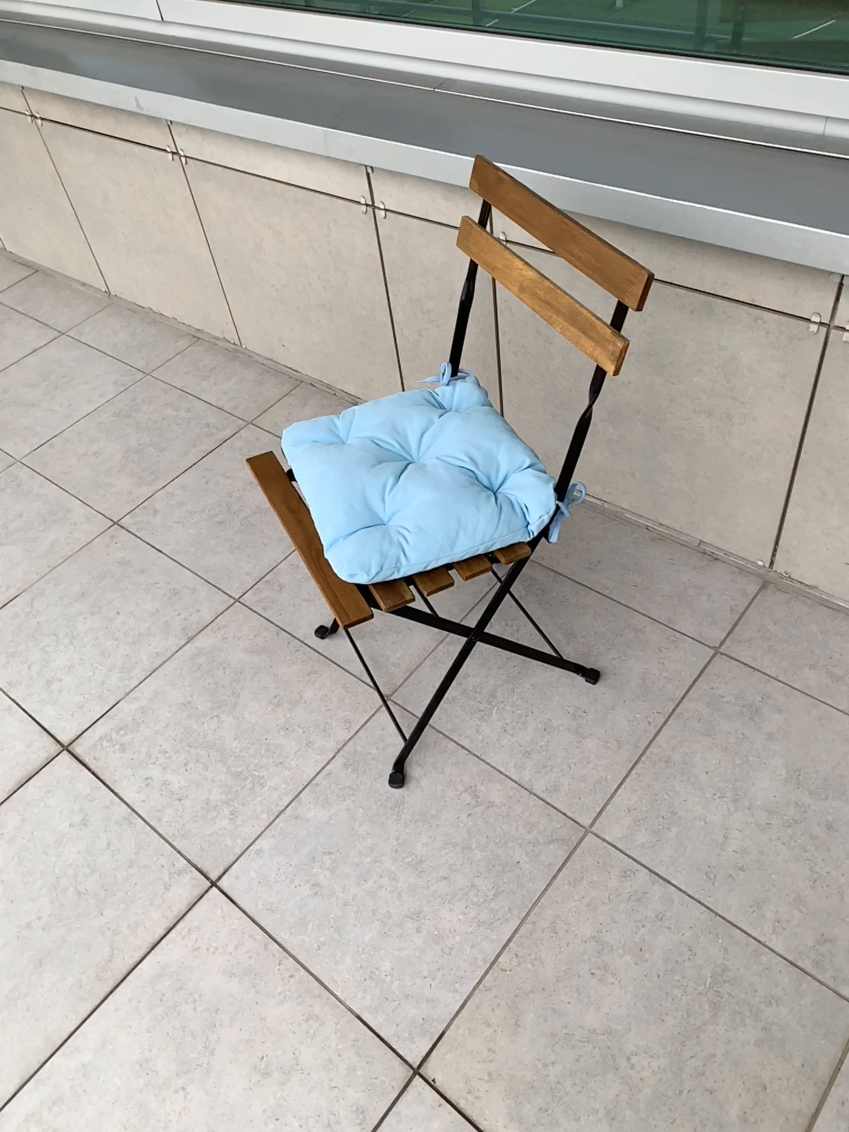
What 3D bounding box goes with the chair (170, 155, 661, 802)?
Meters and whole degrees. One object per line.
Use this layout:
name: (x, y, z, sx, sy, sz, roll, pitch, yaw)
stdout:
chair: (0.009, -0.101, 1.289, 0.452, 0.748, 0.419, -23, 47, -12)
